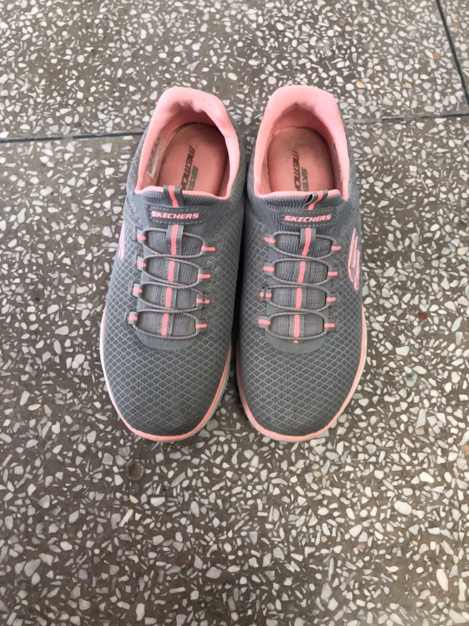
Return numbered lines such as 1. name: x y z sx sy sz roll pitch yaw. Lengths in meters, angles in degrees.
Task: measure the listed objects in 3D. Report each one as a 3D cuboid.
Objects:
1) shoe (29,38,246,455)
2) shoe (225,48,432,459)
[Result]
1. shoe: -0.049 -0.042 0.346 0.097 0.095 0.253 3 71 -1
2. shoe: 0.053 -0.036 0.352 0.102 0.108 0.247 3 71 -1
